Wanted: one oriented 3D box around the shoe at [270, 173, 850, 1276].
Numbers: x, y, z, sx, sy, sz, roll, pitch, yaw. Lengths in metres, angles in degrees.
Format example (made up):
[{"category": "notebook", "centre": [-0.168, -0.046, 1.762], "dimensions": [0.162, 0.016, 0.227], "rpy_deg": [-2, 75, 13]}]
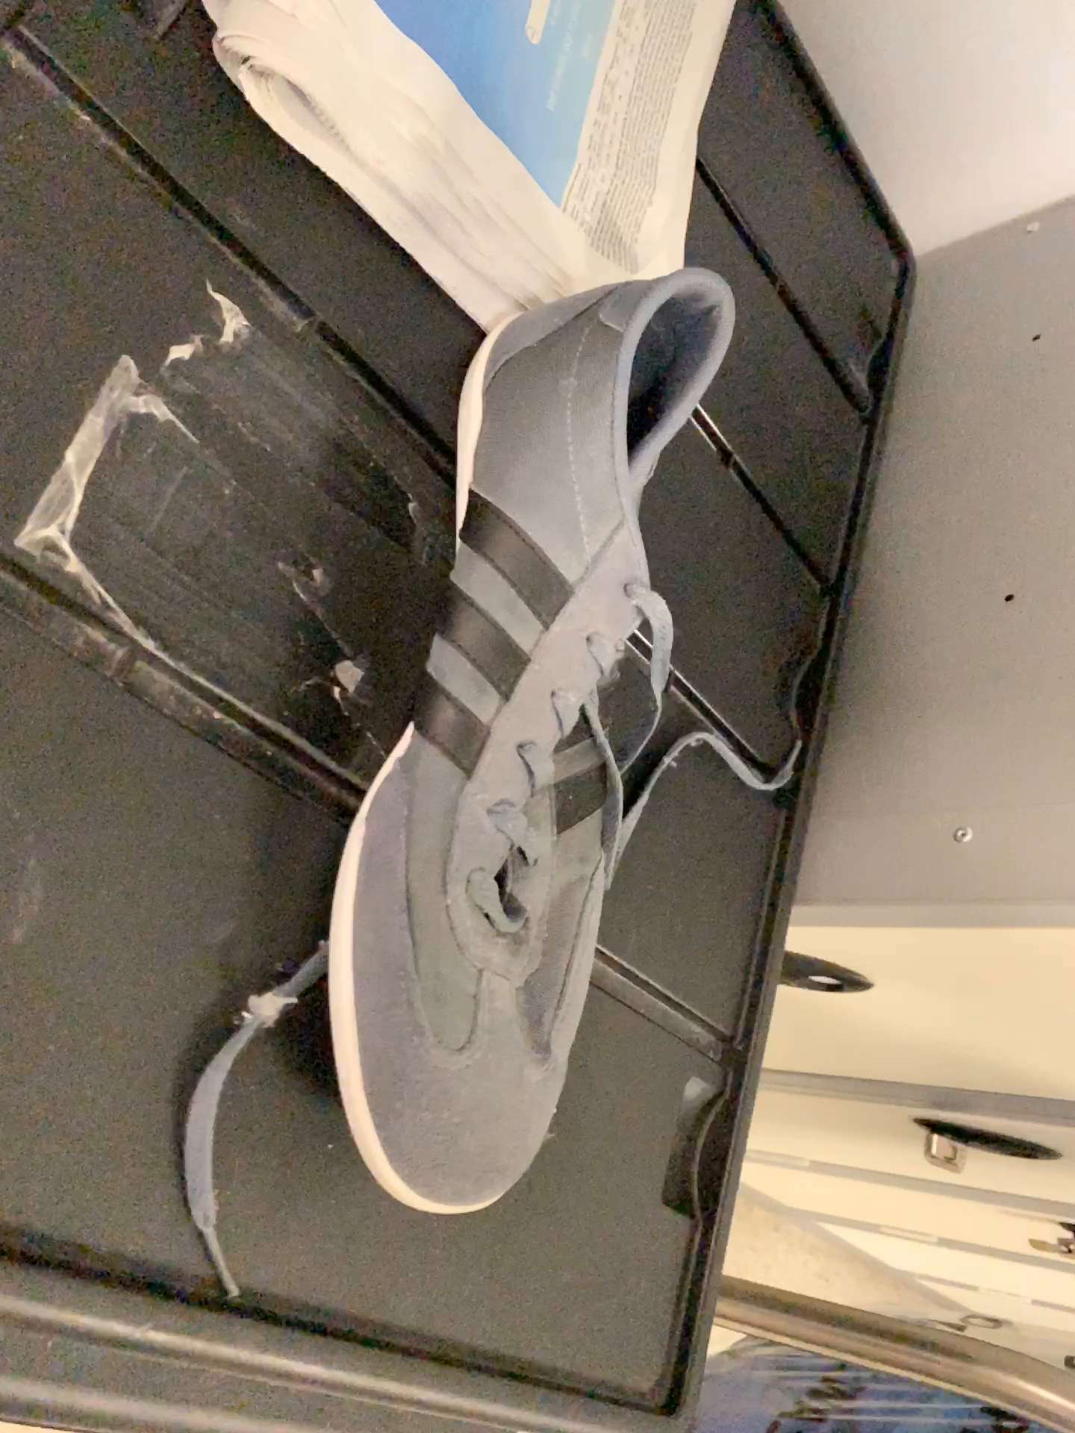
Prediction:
[{"category": "shoe", "centre": [0.022, 0.003, 0.316], "dimensions": [0.114, 0.077, 0.268], "rpy_deg": [27, 64, -43]}]
